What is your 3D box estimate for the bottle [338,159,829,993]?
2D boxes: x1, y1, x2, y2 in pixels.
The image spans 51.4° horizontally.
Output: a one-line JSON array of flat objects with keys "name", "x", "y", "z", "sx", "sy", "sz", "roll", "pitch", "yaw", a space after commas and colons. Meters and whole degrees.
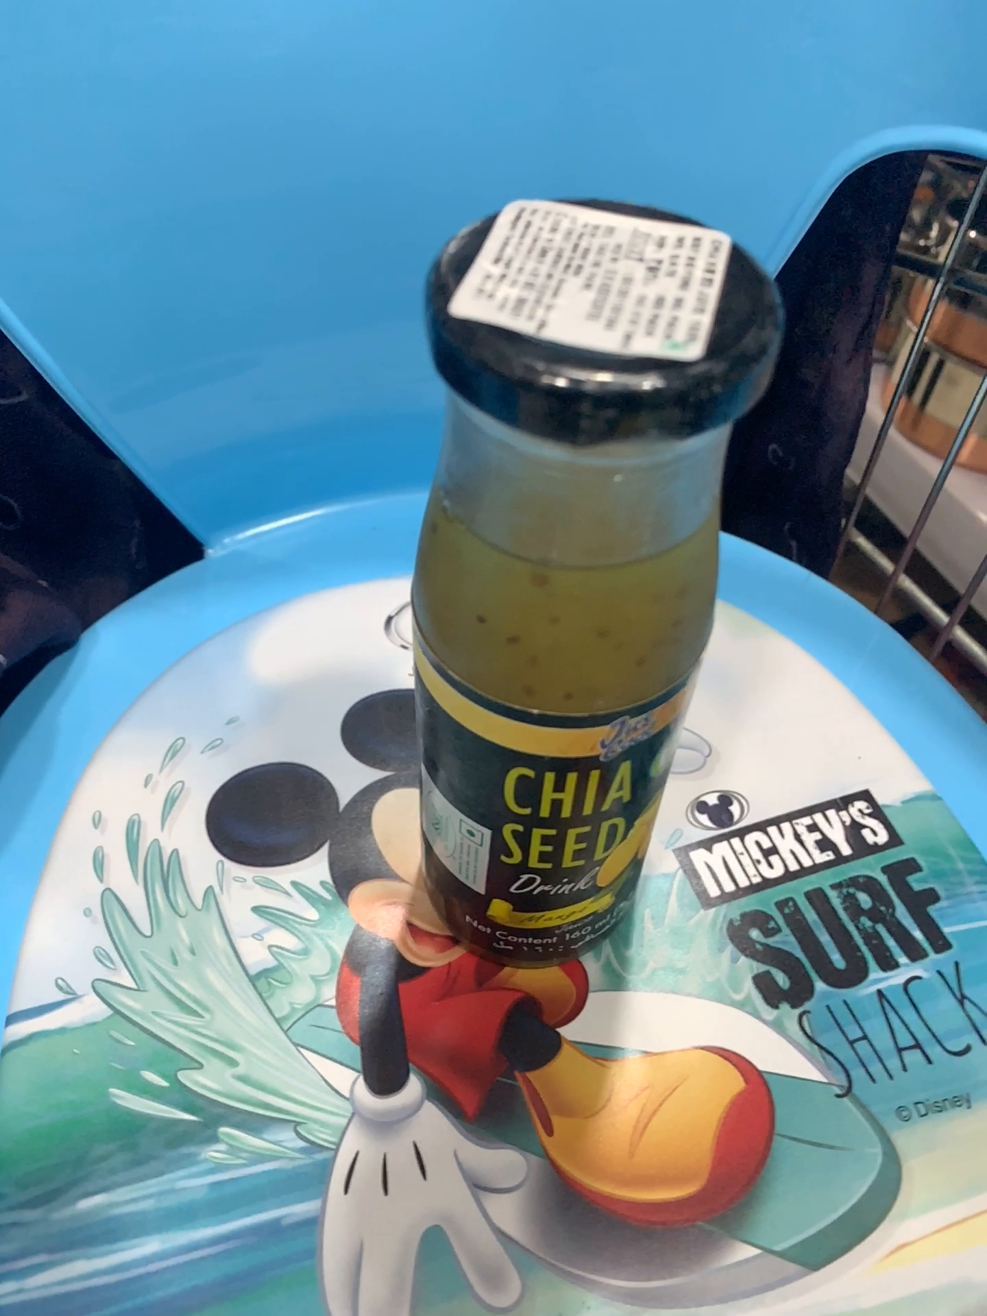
[{"name": "bottle", "x": 0.009, "y": -0.002, "z": 0.177, "sx": 0.050, "sy": 0.139, "sz": 0.050, "roll": -1, "pitch": 46, "yaw": 1}]
